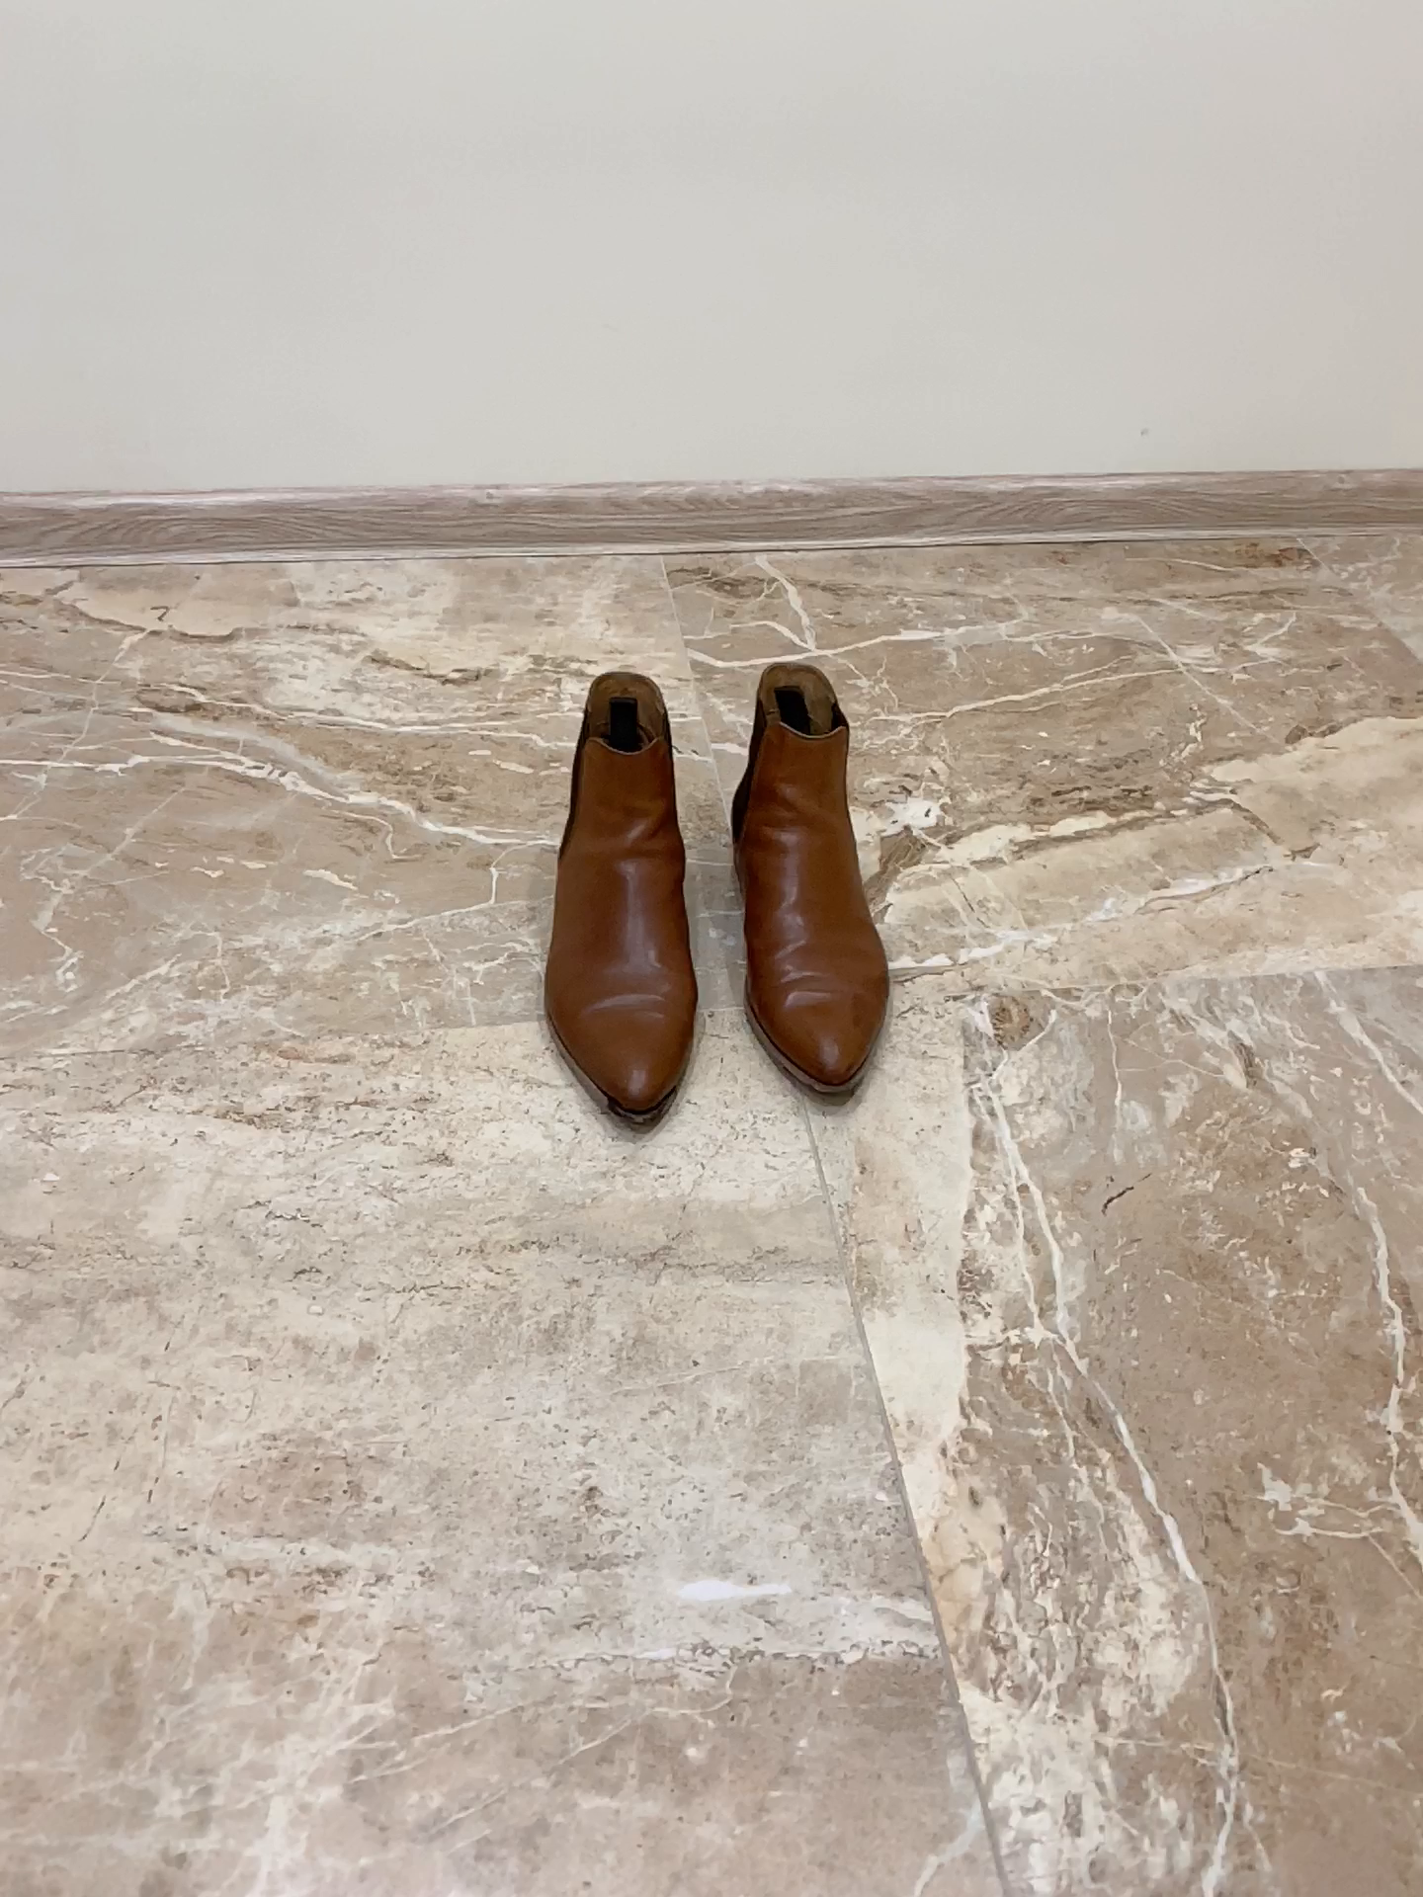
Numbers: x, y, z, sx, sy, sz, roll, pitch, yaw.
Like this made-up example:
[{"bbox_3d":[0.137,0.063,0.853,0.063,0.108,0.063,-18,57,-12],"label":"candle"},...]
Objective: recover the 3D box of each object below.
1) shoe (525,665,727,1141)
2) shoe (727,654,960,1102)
[{"bbox_3d":[-0.054,-0.034,0.798,0.090,0.129,0.252,-2,41,-6],"label":"shoe"},{"bbox_3d":[0.063,-0.047,0.811,0.090,0.119,0.252,0,40,-4],"label":"shoe"}]
